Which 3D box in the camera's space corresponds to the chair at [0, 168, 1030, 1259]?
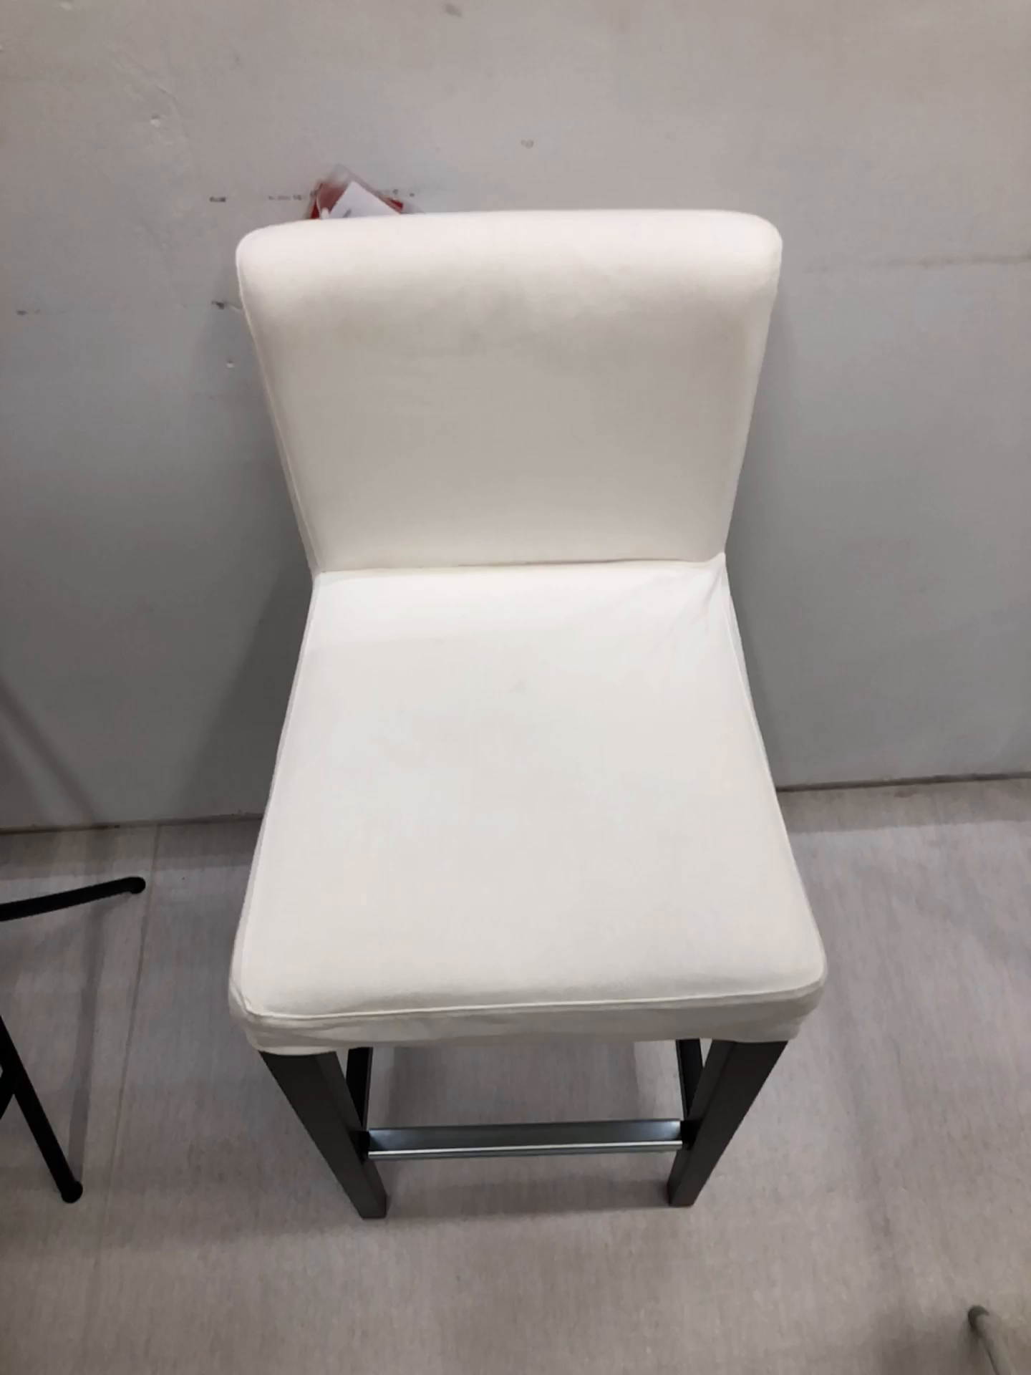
[{"bbox_3d":[0.008,0.120,0.961,0.440,0.856,0.532,-3,56,0],"label":"chair"}]
